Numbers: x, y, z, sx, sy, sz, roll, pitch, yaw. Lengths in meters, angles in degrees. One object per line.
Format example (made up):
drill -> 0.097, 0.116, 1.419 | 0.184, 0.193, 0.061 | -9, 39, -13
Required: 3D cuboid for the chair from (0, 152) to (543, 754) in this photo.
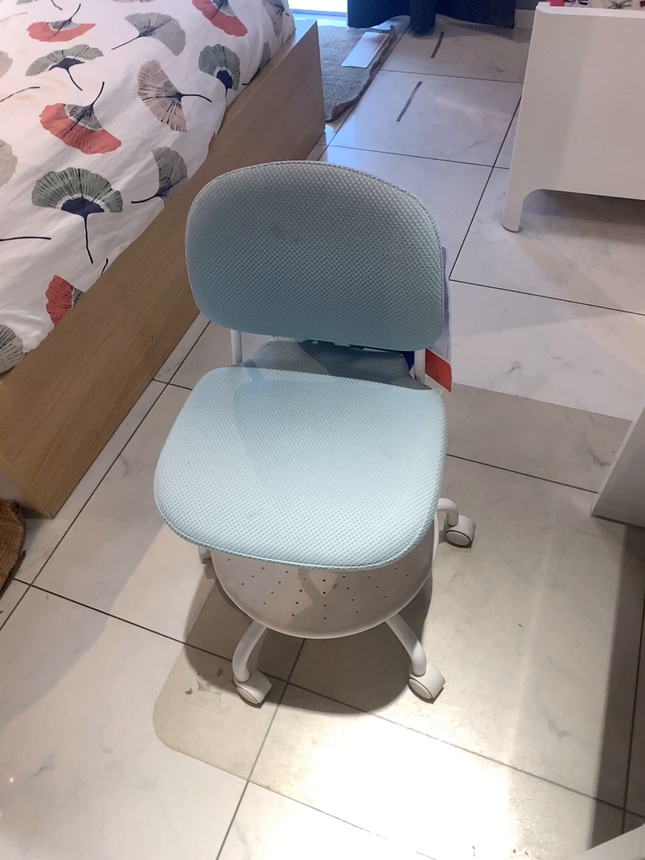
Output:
chair -> -0.019, 0.056, 1.088 | 0.600, 0.718, 0.621 | 7, 53, 11
